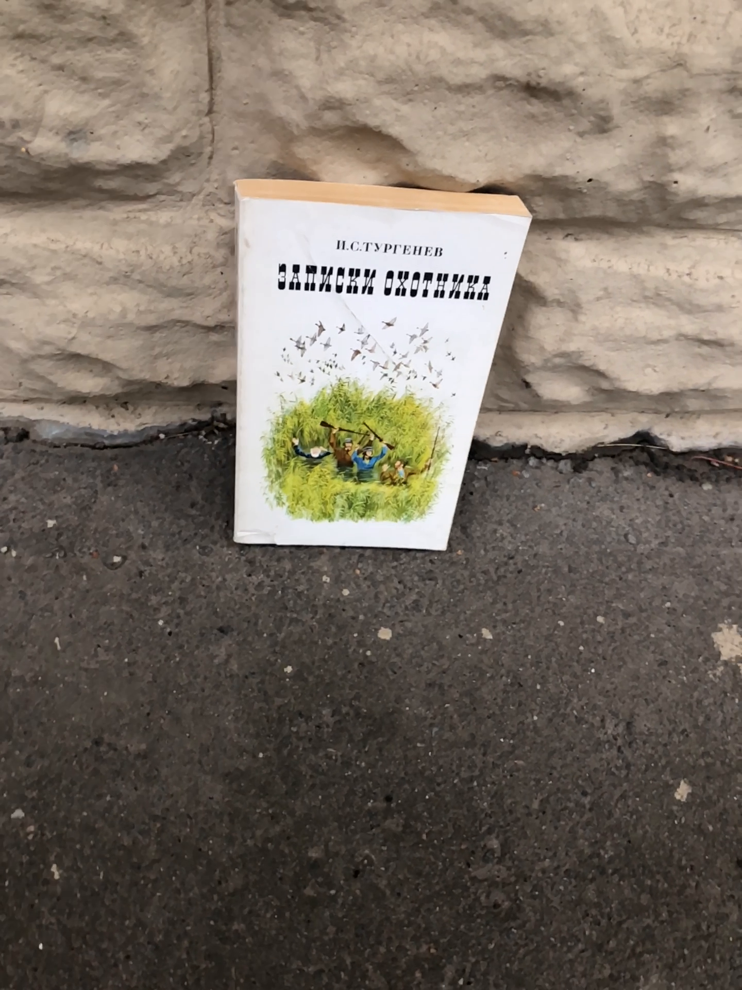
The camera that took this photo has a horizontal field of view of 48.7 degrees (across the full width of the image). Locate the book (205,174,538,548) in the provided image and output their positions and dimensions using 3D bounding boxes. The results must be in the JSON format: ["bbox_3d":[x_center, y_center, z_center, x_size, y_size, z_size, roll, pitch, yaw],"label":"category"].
[{"bbox_3d":[-0.008,-0.054,0.403,0.137,0.183,0.032,1,38,-7],"label":"book"}]
